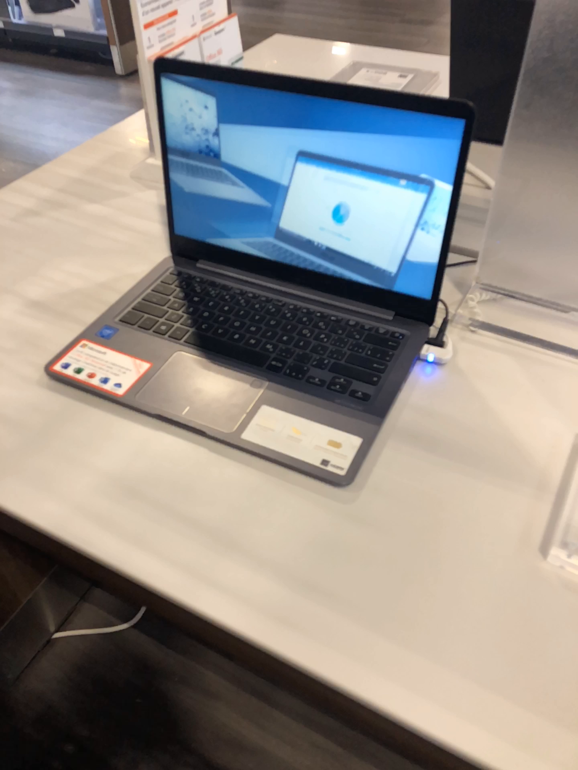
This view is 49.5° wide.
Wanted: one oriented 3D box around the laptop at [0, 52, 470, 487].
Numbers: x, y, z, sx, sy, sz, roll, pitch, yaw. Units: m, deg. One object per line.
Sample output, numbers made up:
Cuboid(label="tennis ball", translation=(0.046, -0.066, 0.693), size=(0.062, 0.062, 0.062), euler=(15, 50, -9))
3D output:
Cuboid(label="laptop", translation=(-0.039, -0.138, 0.605), size=(0.333, 0.180, 0.301), euler=(17, 52, 18))
